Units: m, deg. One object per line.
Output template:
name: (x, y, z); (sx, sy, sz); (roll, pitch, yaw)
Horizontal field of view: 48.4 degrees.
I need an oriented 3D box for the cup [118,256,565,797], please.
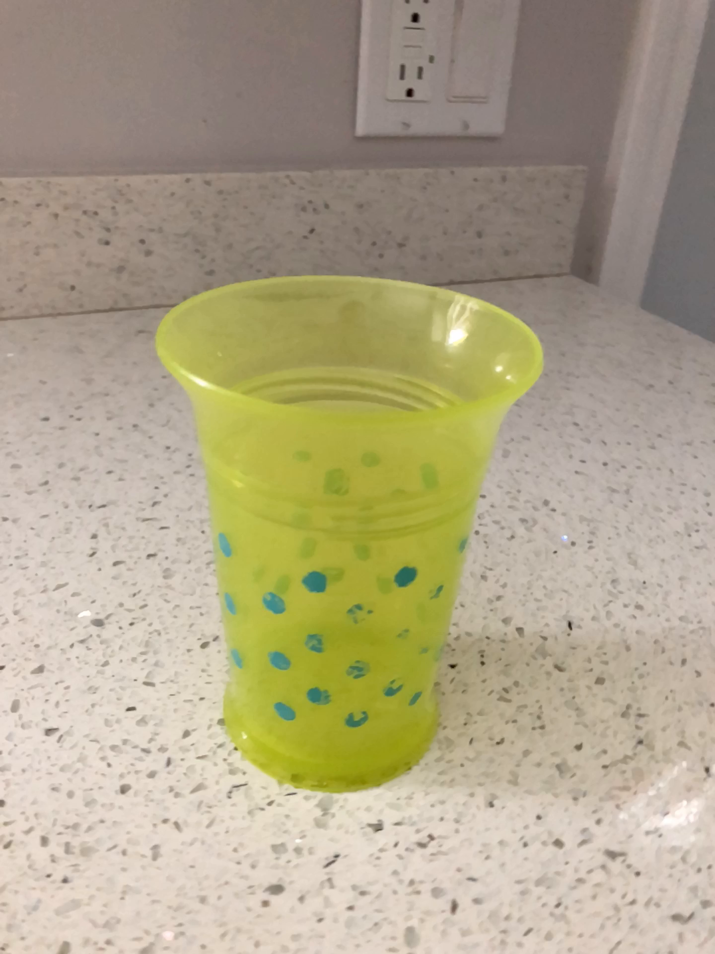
cup: (-0.006, 0.012, 0.197); (0.078, 0.109, 0.073); (2, 31, -1)
